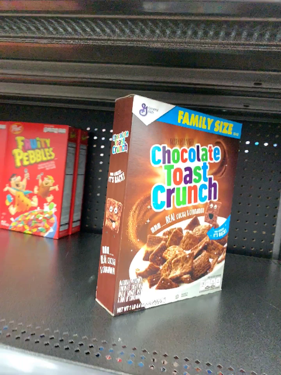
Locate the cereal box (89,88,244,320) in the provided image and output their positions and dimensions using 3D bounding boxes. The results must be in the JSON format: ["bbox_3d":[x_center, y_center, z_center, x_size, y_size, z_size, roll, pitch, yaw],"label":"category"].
[{"bbox_3d":[0.051,0.026,0.492,0.240,0.320,0.070,2,6,-36],"label":"cereal box"}]
